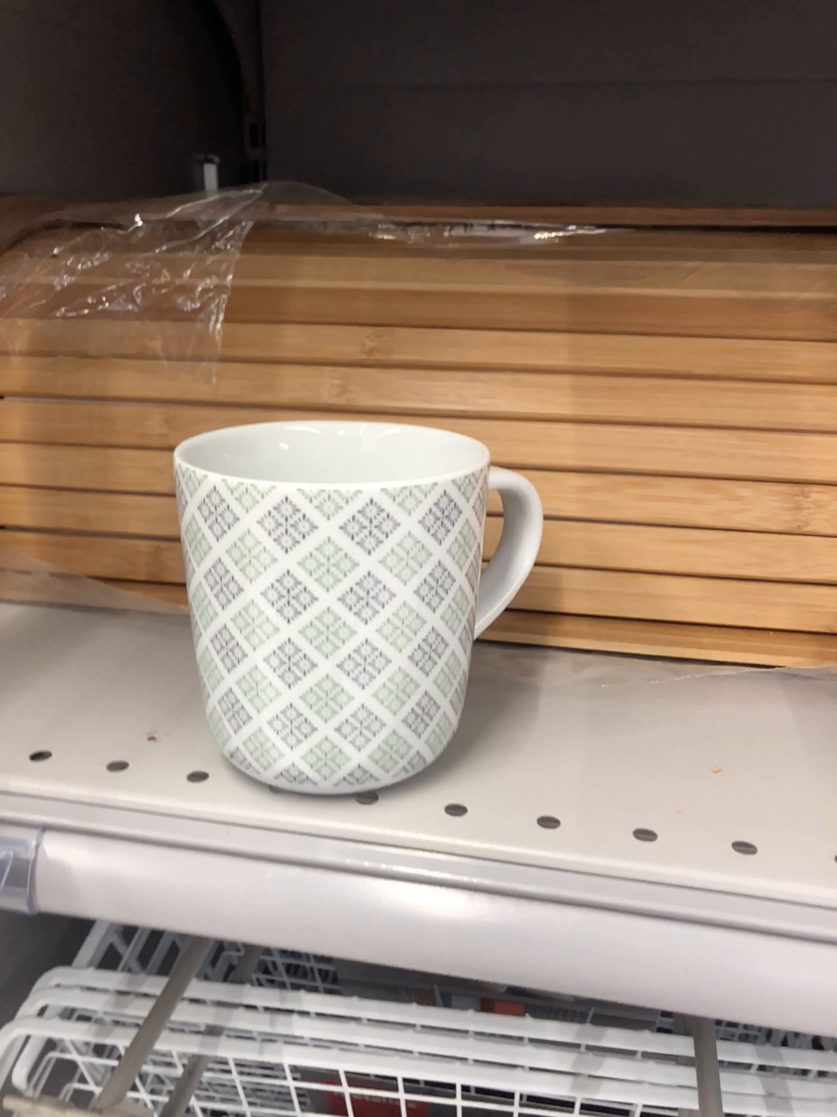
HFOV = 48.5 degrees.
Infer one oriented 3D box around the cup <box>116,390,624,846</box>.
[{"bbox_3d":[-0.013,0.005,0.281,0.119,0.090,0.086,-14,24,-38],"label":"cup"}]
